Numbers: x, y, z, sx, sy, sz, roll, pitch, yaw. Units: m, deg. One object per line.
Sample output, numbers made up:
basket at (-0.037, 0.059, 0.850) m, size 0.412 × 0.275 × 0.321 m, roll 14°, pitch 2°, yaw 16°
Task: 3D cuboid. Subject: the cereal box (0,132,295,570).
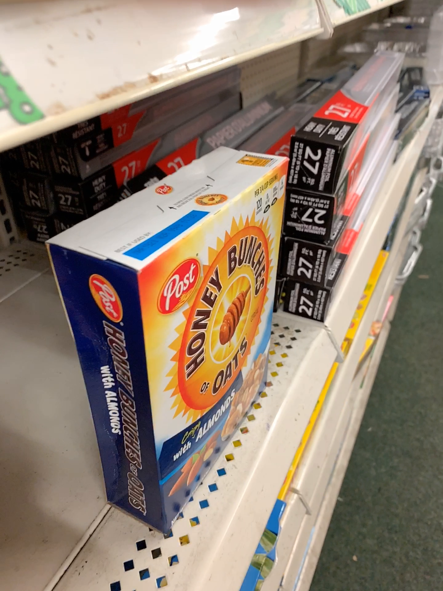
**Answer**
cereal box at (-0.020, 0.028, 0.259) m, size 0.050 × 0.189 × 0.151 m, roll 19°, pitch 40°, yaw 24°
